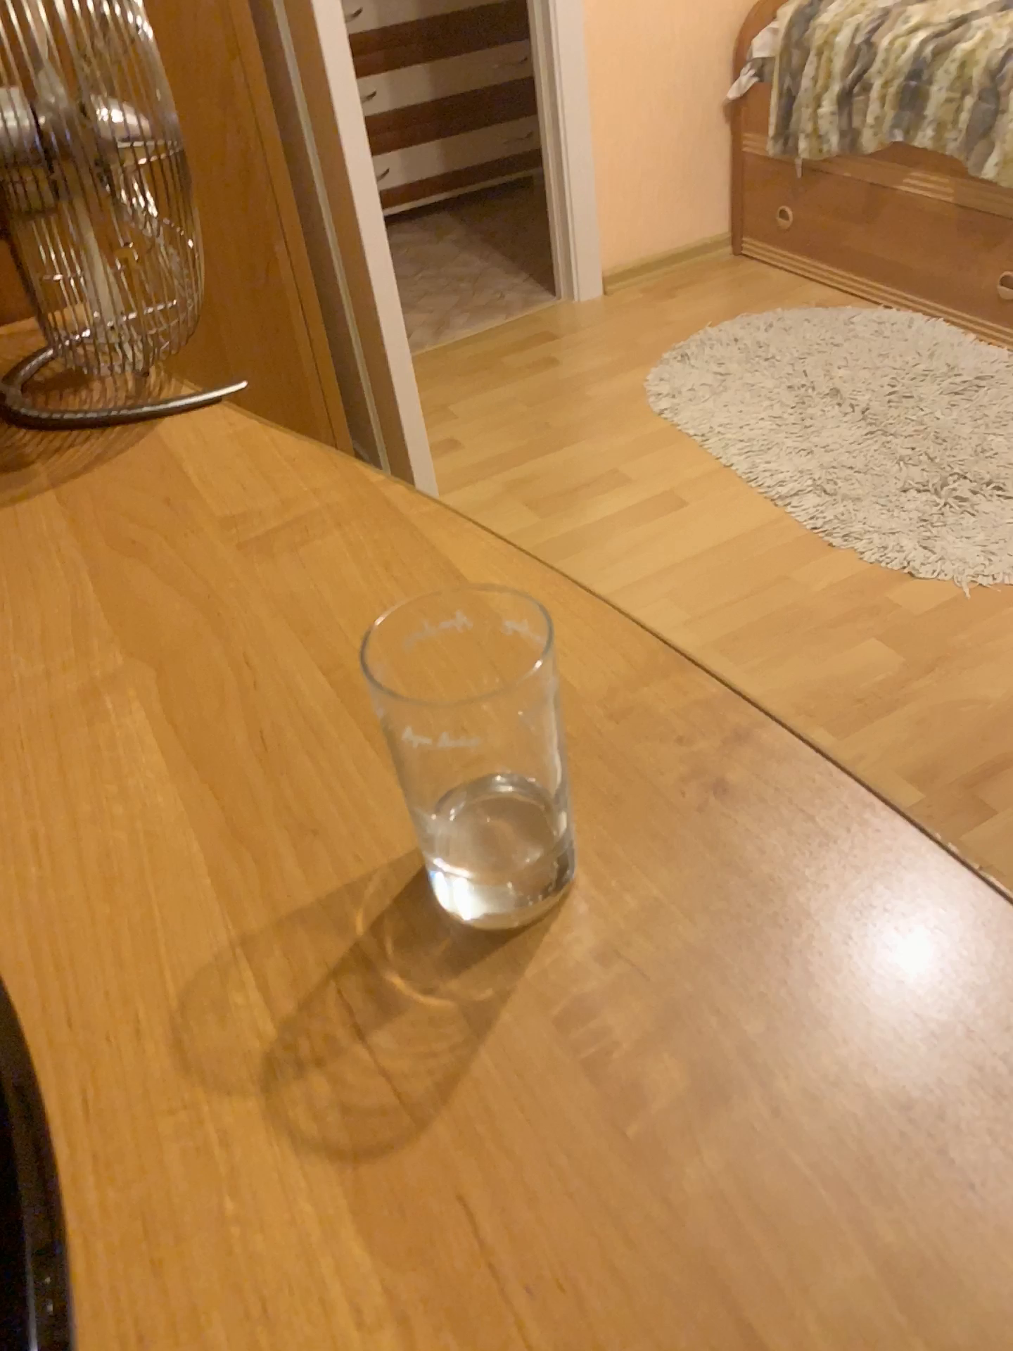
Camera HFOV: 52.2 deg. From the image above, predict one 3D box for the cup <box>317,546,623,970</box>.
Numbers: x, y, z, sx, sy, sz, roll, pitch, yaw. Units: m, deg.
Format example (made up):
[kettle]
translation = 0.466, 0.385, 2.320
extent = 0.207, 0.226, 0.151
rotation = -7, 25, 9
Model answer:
[cup]
translation = -0.009, 0.025, 0.316
extent = 0.060, 0.099, 0.061
rotation = -6, 39, 5
